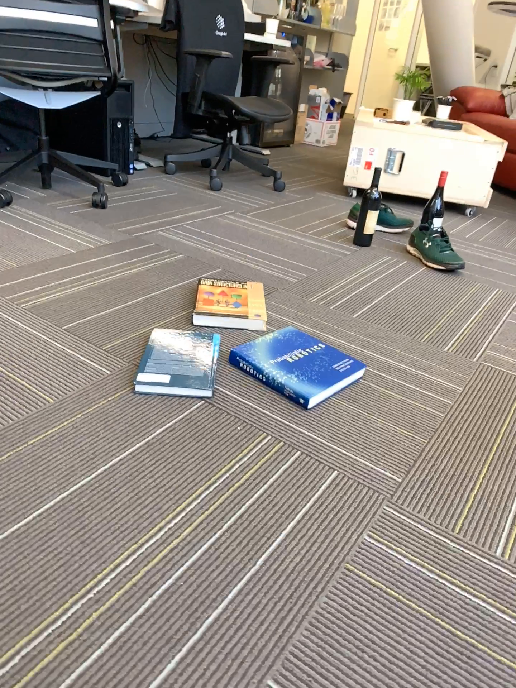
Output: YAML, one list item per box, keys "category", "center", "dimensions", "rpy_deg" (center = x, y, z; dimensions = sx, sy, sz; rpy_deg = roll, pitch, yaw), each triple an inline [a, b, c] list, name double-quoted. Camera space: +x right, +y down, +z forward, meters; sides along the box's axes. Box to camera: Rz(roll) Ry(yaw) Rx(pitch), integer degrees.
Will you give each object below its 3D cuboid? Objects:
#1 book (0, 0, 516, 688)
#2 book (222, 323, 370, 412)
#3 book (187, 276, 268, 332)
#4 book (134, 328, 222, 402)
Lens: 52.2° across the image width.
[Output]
- category: "book"
  center: [-0.080, -0.114, 1.425]
  dimensions: [0.031, 1.491, 6.539]
  rpy_deg: [5, 28, -5]
- category: "book"
  center: [0.084, 0.040, 1.163]
  dimensions: [0.251, 0.030, 0.211]
  rpy_deg: [28, 35, 33]
- category: "book"
  center: [-0.080, -0.114, 1.425]
  dimensions: [0.200, 0.030, 0.262]
  rpy_deg: [5, 28, -5]
- category: "book"
  center: [-0.163, 0.038, 1.131]
  dimensions: [0.160, 0.030, 0.231]
  rpy_deg: [5, 28, -4]
